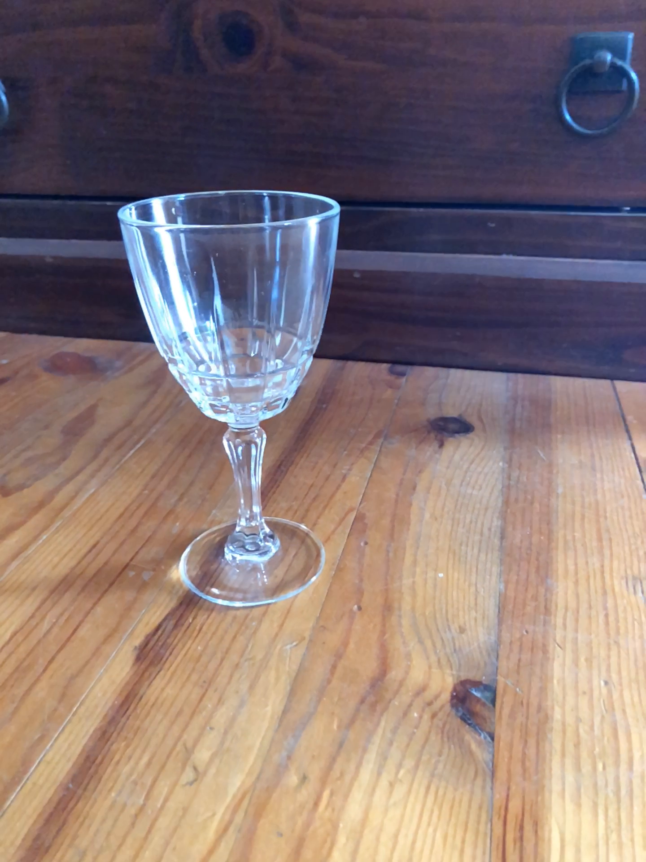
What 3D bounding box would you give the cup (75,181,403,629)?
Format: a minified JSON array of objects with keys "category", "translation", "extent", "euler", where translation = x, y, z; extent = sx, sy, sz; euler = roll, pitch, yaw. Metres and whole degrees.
[{"category":"cup","translation":[-0.024,-0.016,0.278],"extent":[0.084,0.141,0.084],"euler":[0,26,0]}]
